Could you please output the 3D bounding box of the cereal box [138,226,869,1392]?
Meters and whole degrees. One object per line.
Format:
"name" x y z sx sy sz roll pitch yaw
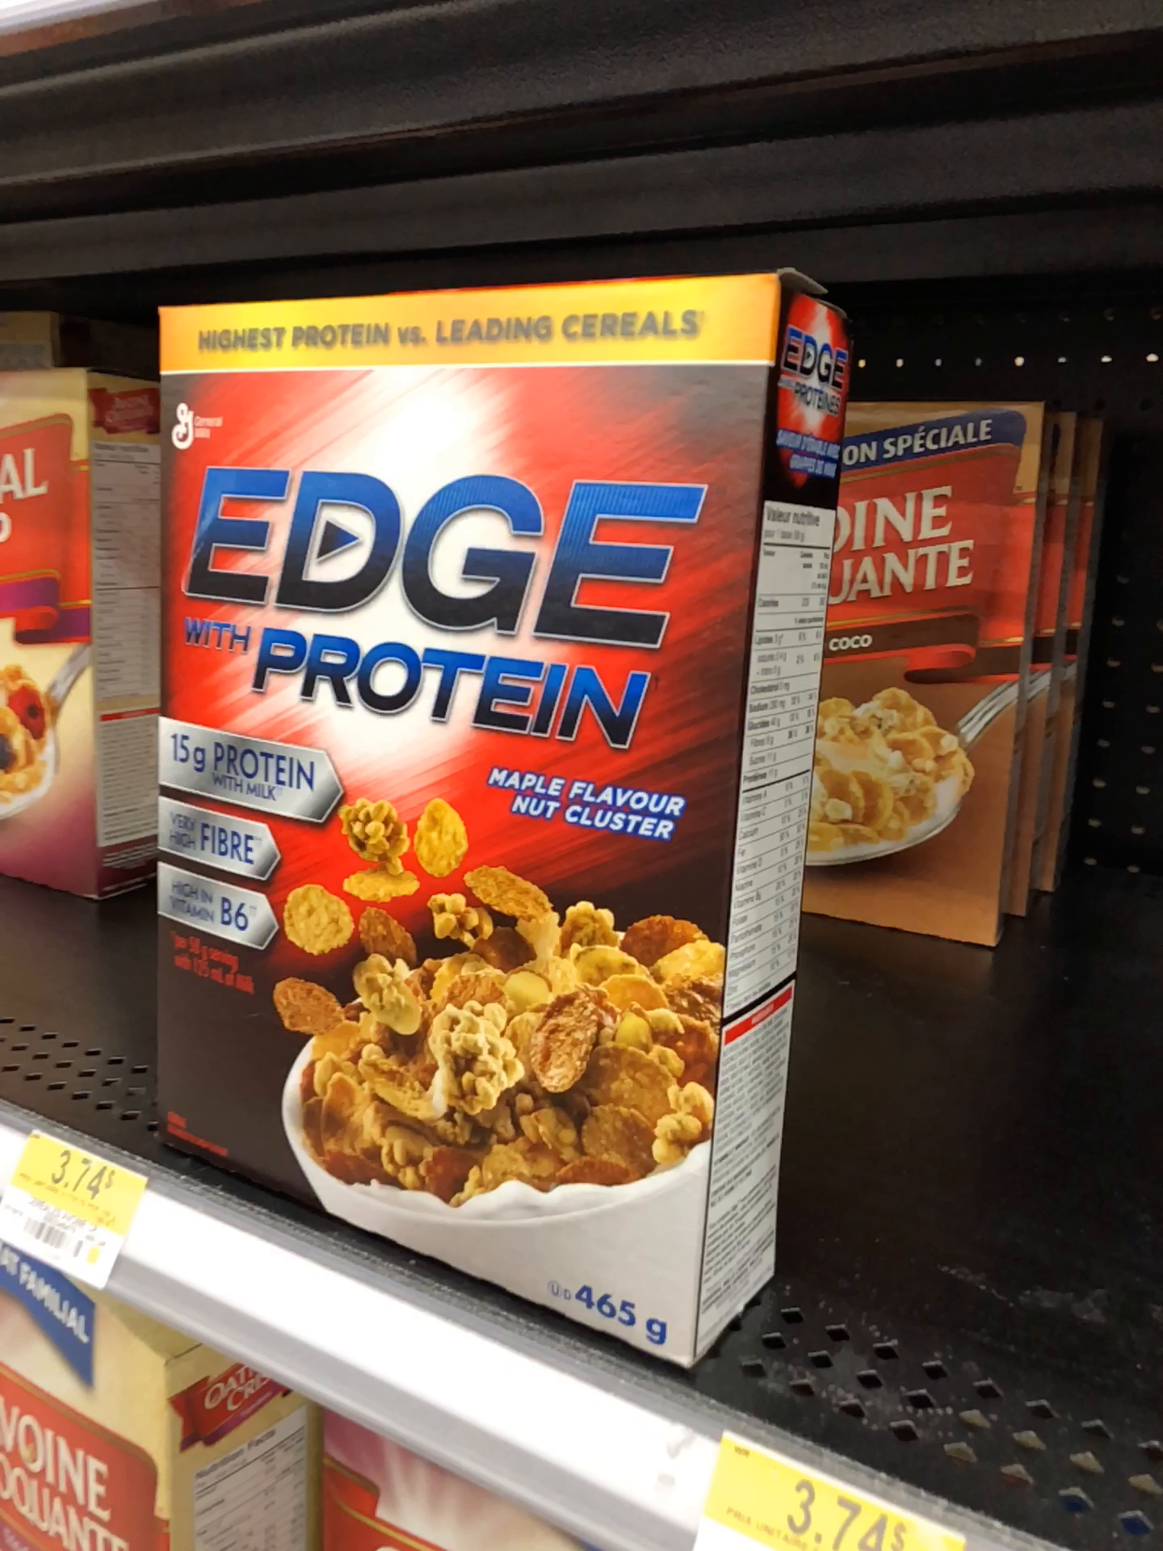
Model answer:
"cereal box" -0.037 -0.001 0.368 0.200 0.269 0.060 10 12 32
